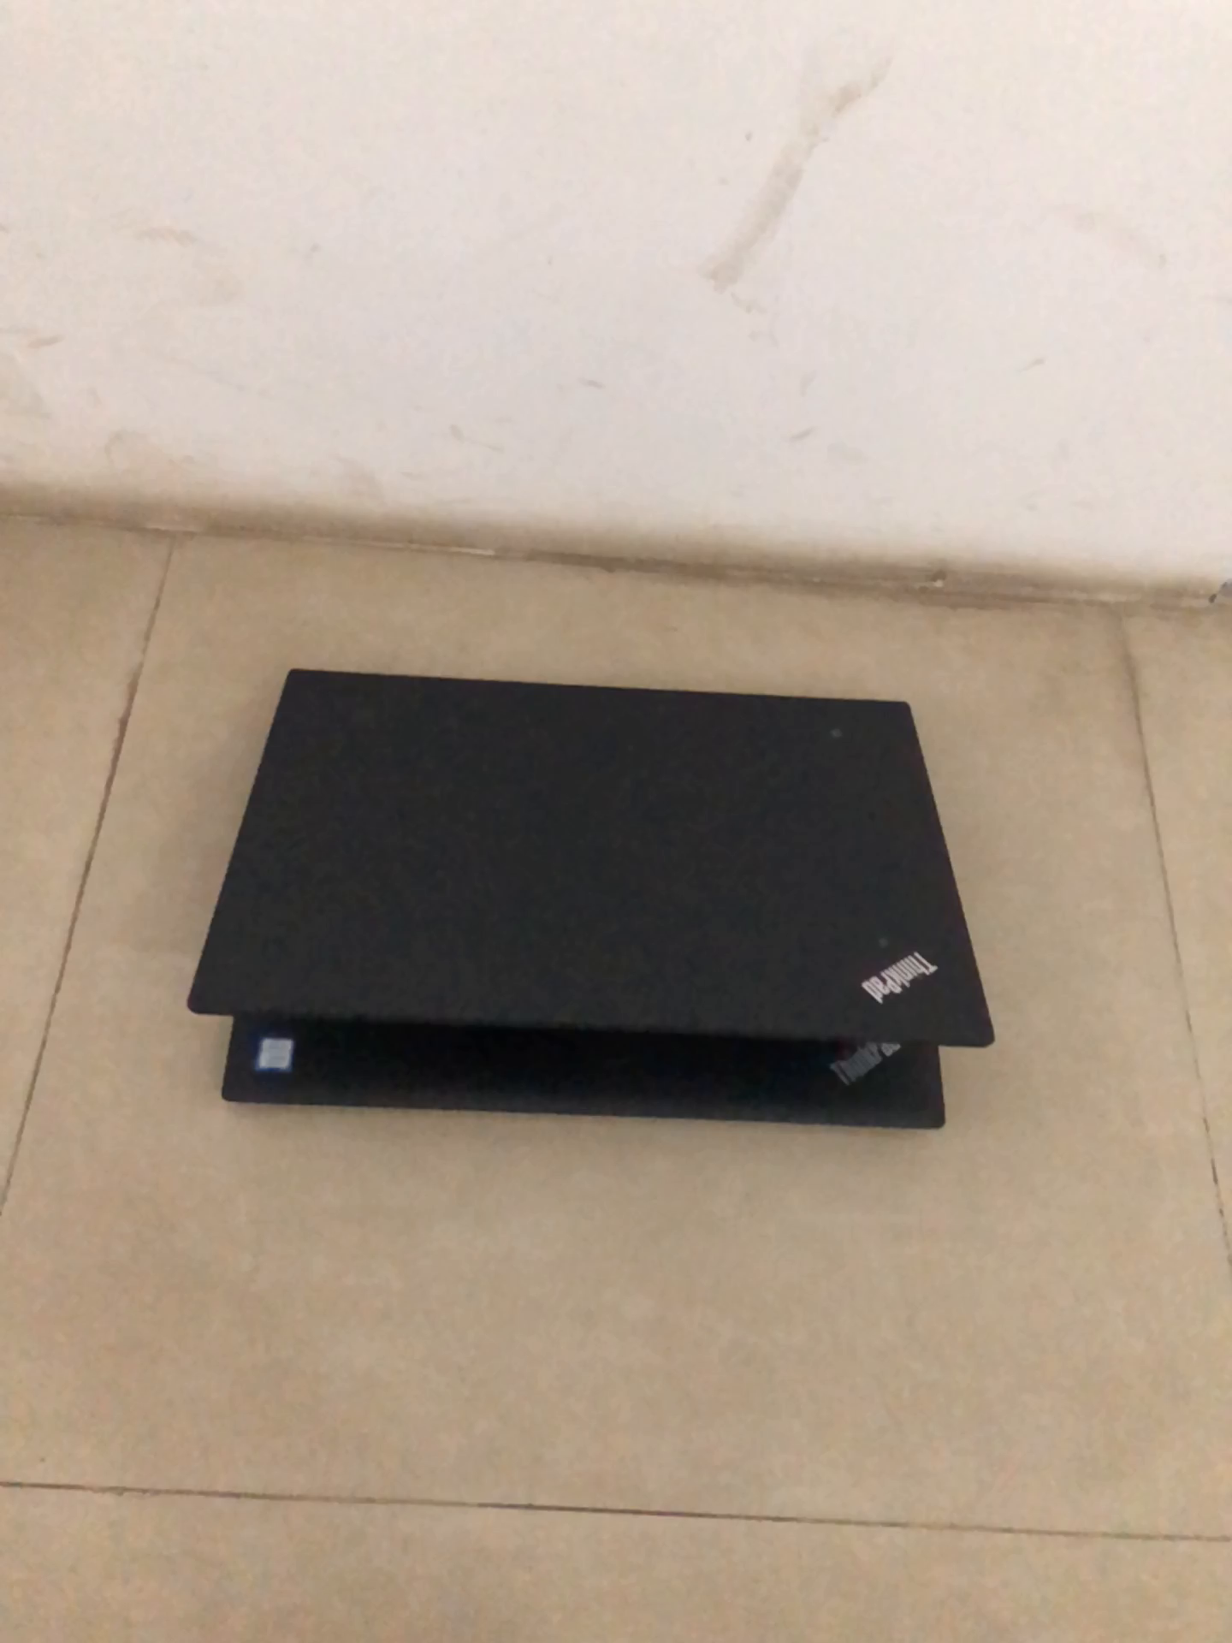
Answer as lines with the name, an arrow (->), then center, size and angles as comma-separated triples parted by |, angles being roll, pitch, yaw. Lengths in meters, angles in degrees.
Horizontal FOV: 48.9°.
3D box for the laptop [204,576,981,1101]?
laptop -> -0.008, 0.006, 0.690 | 0.349, 0.071, 0.237 | 3, 64, -1
